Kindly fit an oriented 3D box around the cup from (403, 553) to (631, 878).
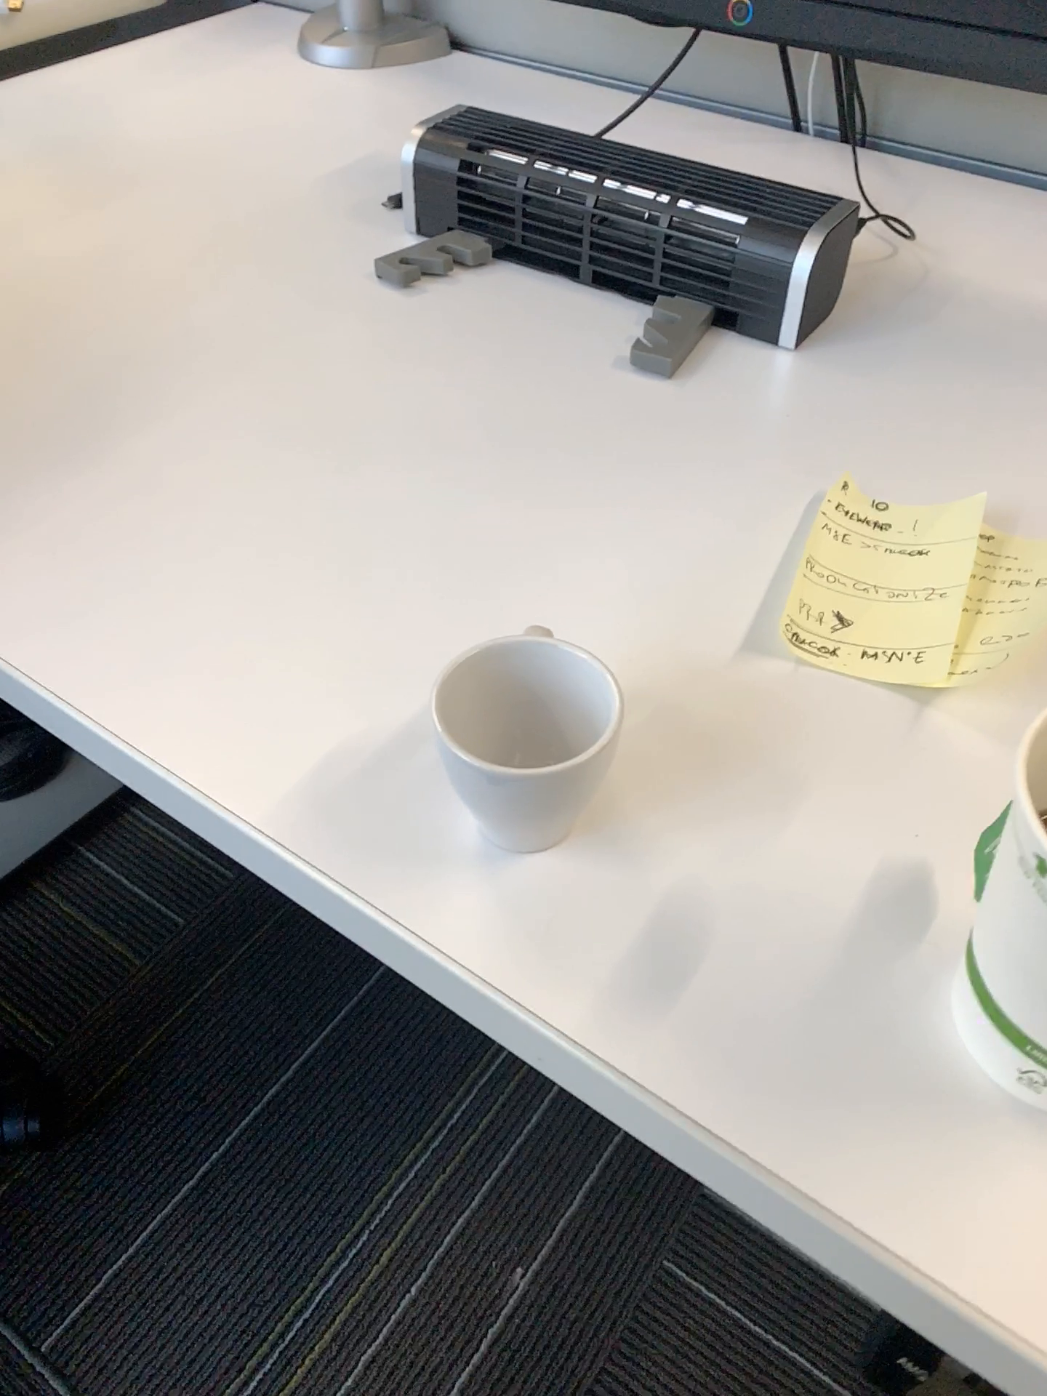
[{"bbox_3d":[0.001,0.004,0.393,0.070,0.060,0.101,4,46,3],"label":"cup"}]
